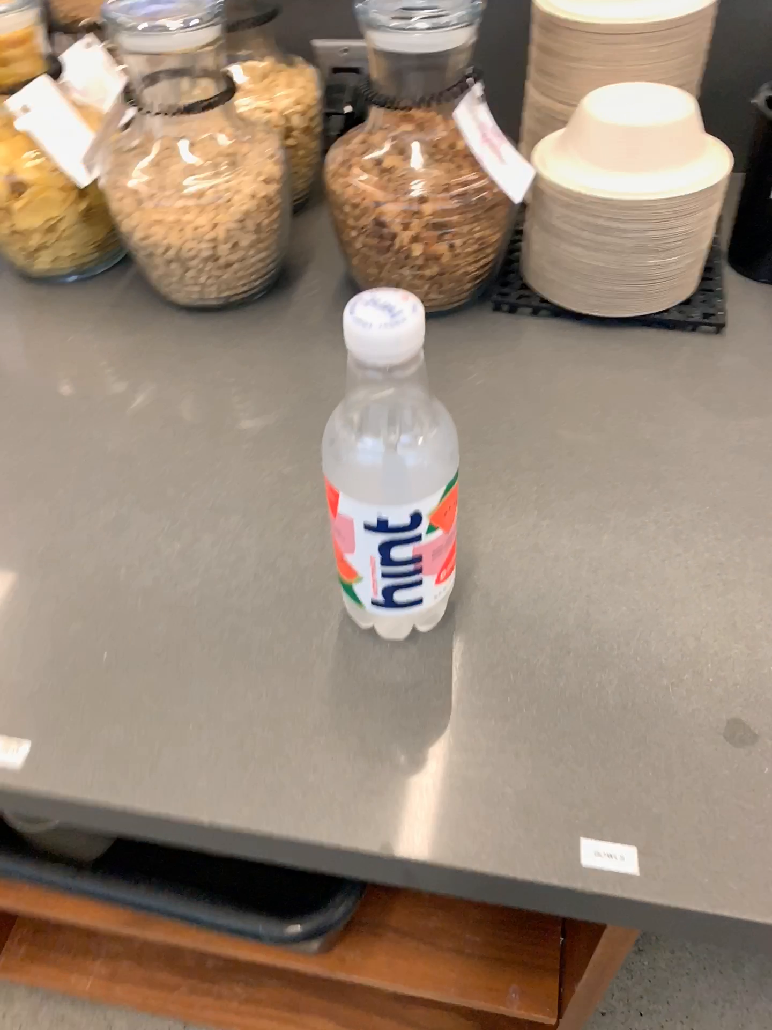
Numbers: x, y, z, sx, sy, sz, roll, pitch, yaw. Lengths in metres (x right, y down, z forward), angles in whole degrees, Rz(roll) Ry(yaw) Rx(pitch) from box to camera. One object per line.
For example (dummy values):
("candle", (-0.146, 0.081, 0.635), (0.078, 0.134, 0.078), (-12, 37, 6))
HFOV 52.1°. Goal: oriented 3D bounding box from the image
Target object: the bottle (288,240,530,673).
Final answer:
("bottle", (0.012, -0.018, 0.389), (0.070, 0.199, 0.070), (-2, 47, 2))
